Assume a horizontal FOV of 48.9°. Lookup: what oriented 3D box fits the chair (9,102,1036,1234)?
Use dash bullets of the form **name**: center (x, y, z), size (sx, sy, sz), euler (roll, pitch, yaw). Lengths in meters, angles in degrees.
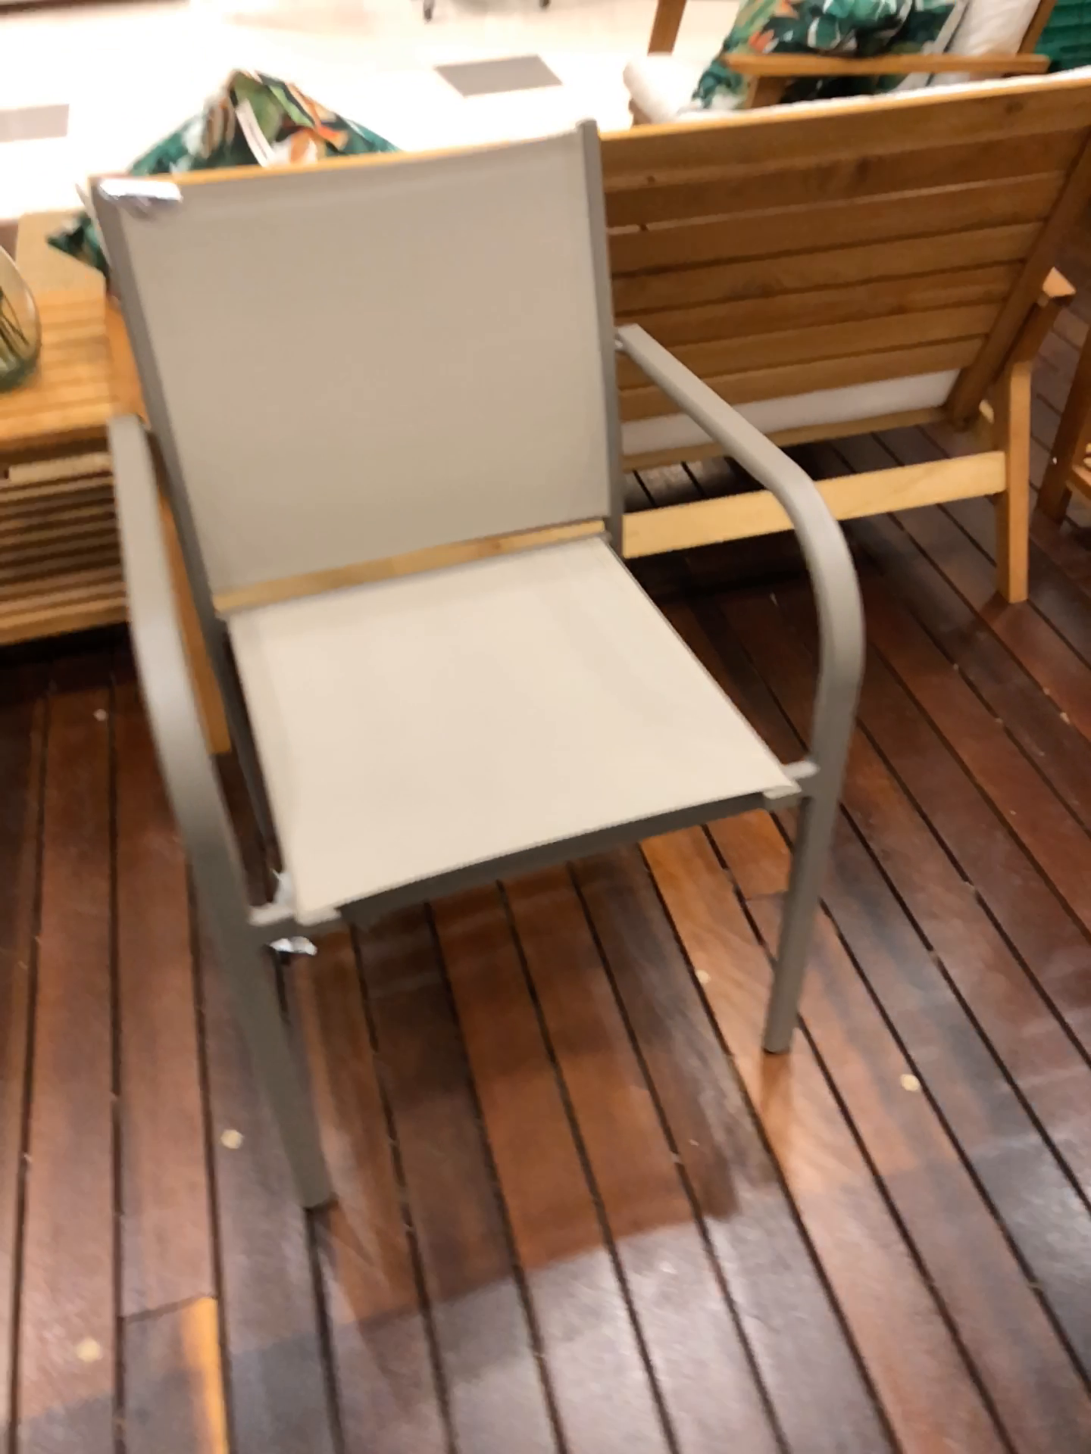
- **chair**: center (-0.069, -0.061, 1.181), size (0.620, 0.794, 0.614), euler (-13, 44, -12)
